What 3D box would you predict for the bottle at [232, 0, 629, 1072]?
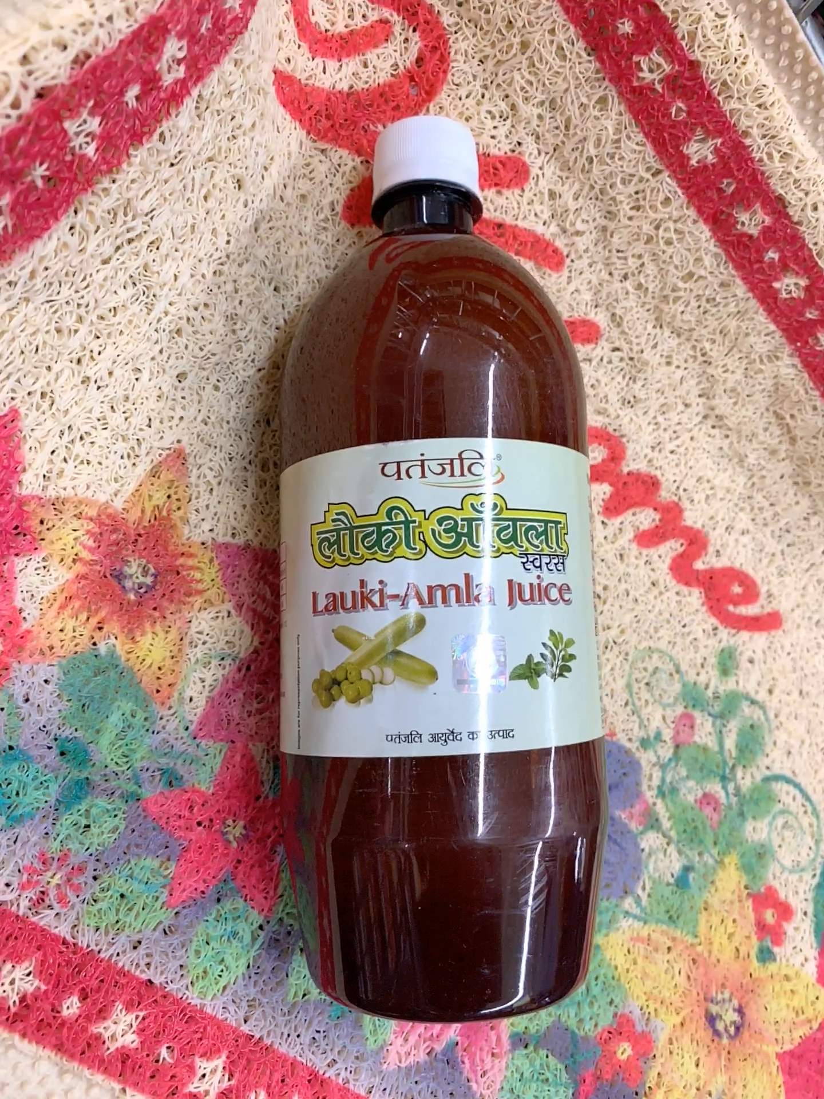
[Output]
[{"bbox_3d":[0.008,-0.016,0.229,0.080,0.080,0.250,22,65,-73],"label":"bottle"}]
